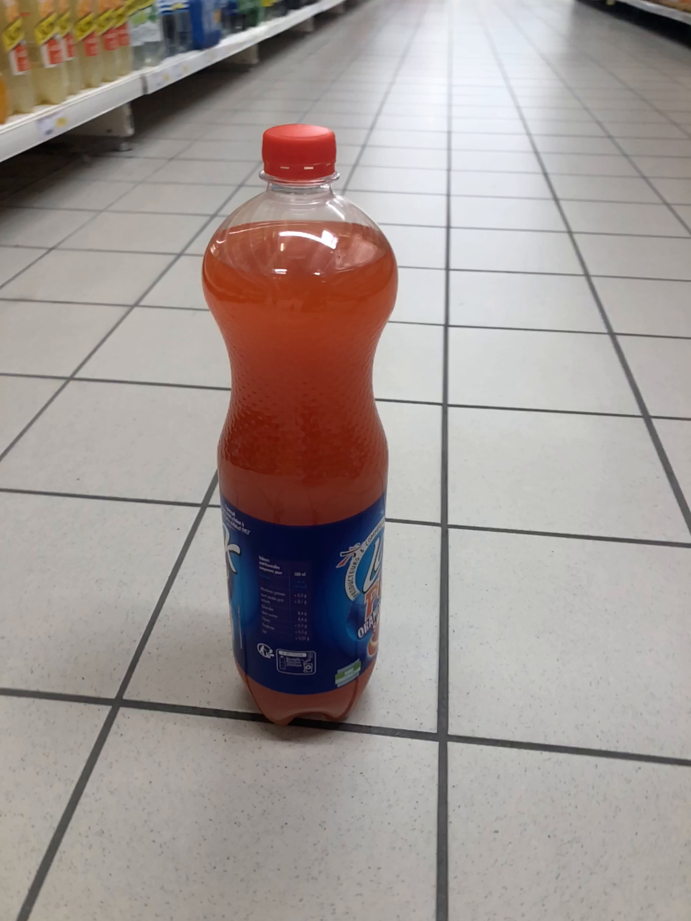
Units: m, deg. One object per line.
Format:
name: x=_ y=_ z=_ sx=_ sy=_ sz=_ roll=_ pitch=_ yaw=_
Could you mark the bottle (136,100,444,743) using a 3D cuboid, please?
bottle: x=-0.017 y=-0.008 z=0.395 sx=0.100 sy=0.308 sz=0.111 roll=7 pitch=33 yaw=9
